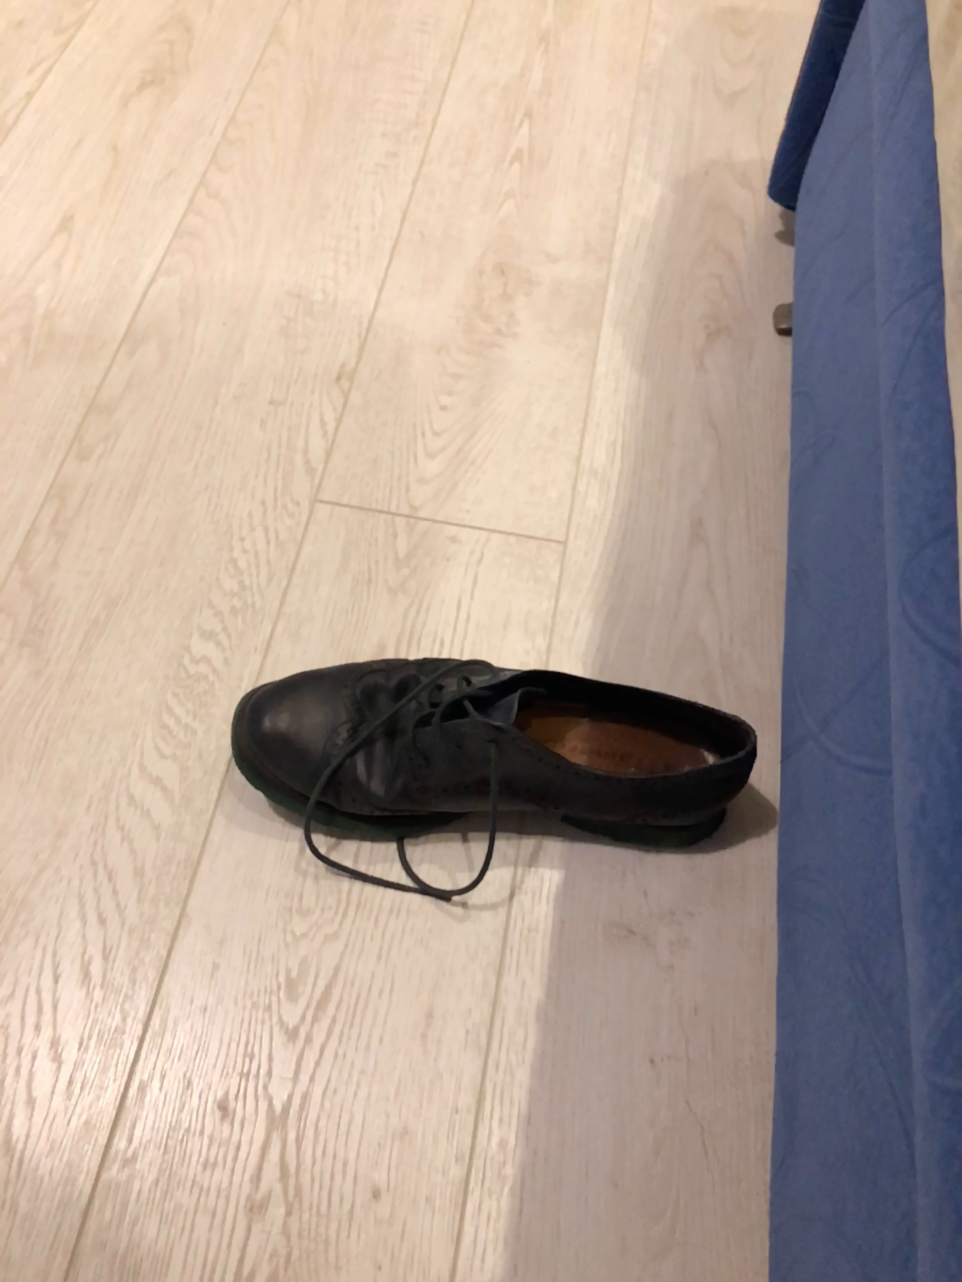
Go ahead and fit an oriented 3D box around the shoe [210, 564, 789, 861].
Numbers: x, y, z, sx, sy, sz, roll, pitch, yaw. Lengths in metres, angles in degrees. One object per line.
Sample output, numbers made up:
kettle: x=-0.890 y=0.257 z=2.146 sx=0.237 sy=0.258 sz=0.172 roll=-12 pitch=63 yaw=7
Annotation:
shoe: x=0.009 y=0.037 z=0.519 sx=0.250 sy=0.090 sz=0.096 roll=5 pitch=59 yaw=-1
